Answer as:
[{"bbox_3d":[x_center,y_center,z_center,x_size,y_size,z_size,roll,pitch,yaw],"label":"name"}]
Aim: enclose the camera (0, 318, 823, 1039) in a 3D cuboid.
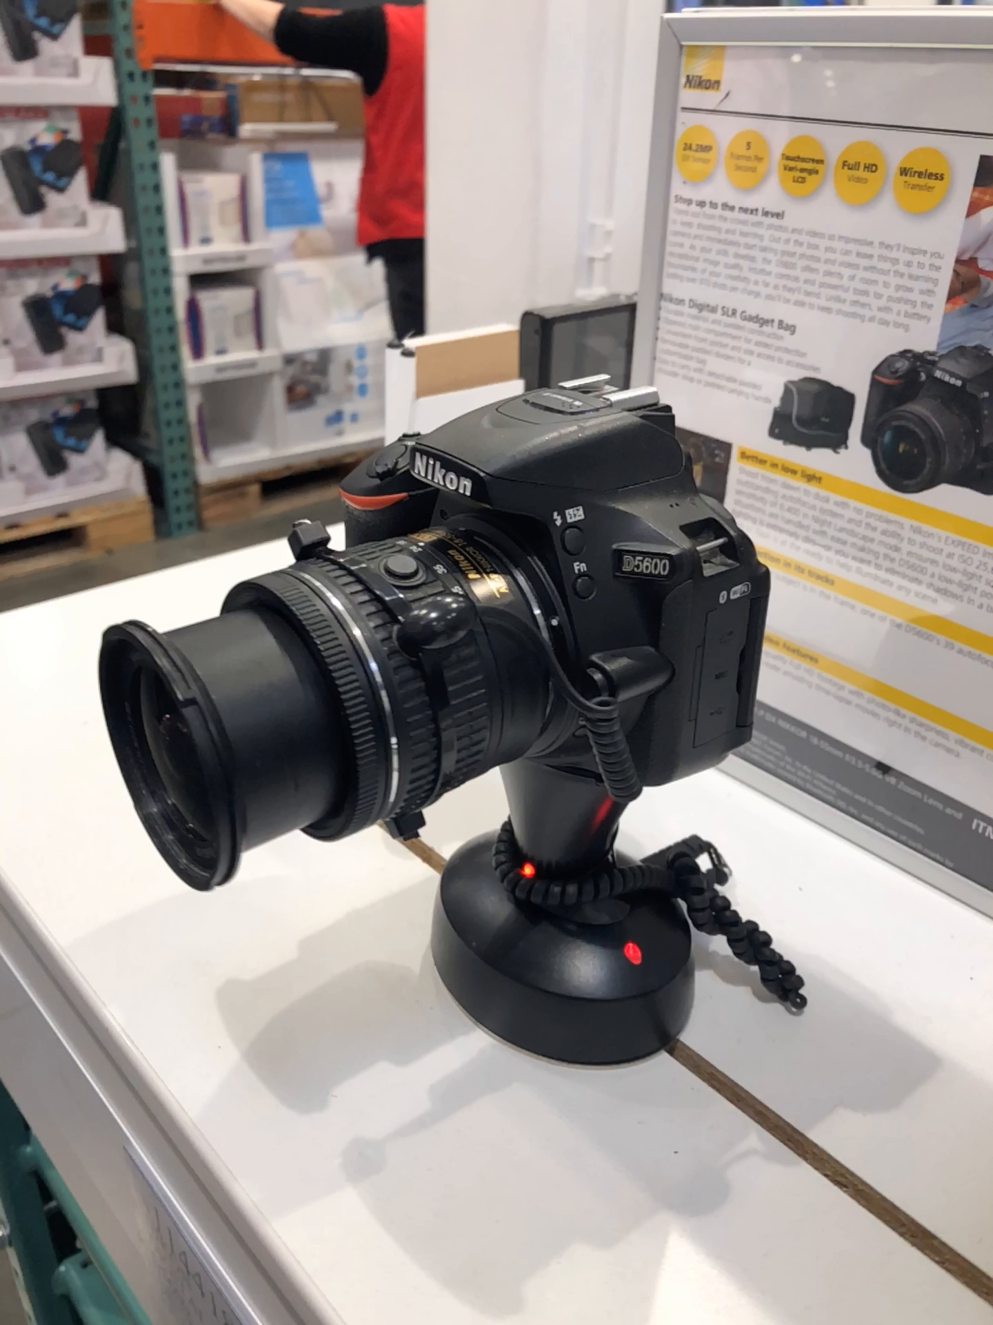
[{"bbox_3d":[-0.030,-0.019,0.288,0.160,0.099,0.141,-19,34,-34],"label":"camera"}]
